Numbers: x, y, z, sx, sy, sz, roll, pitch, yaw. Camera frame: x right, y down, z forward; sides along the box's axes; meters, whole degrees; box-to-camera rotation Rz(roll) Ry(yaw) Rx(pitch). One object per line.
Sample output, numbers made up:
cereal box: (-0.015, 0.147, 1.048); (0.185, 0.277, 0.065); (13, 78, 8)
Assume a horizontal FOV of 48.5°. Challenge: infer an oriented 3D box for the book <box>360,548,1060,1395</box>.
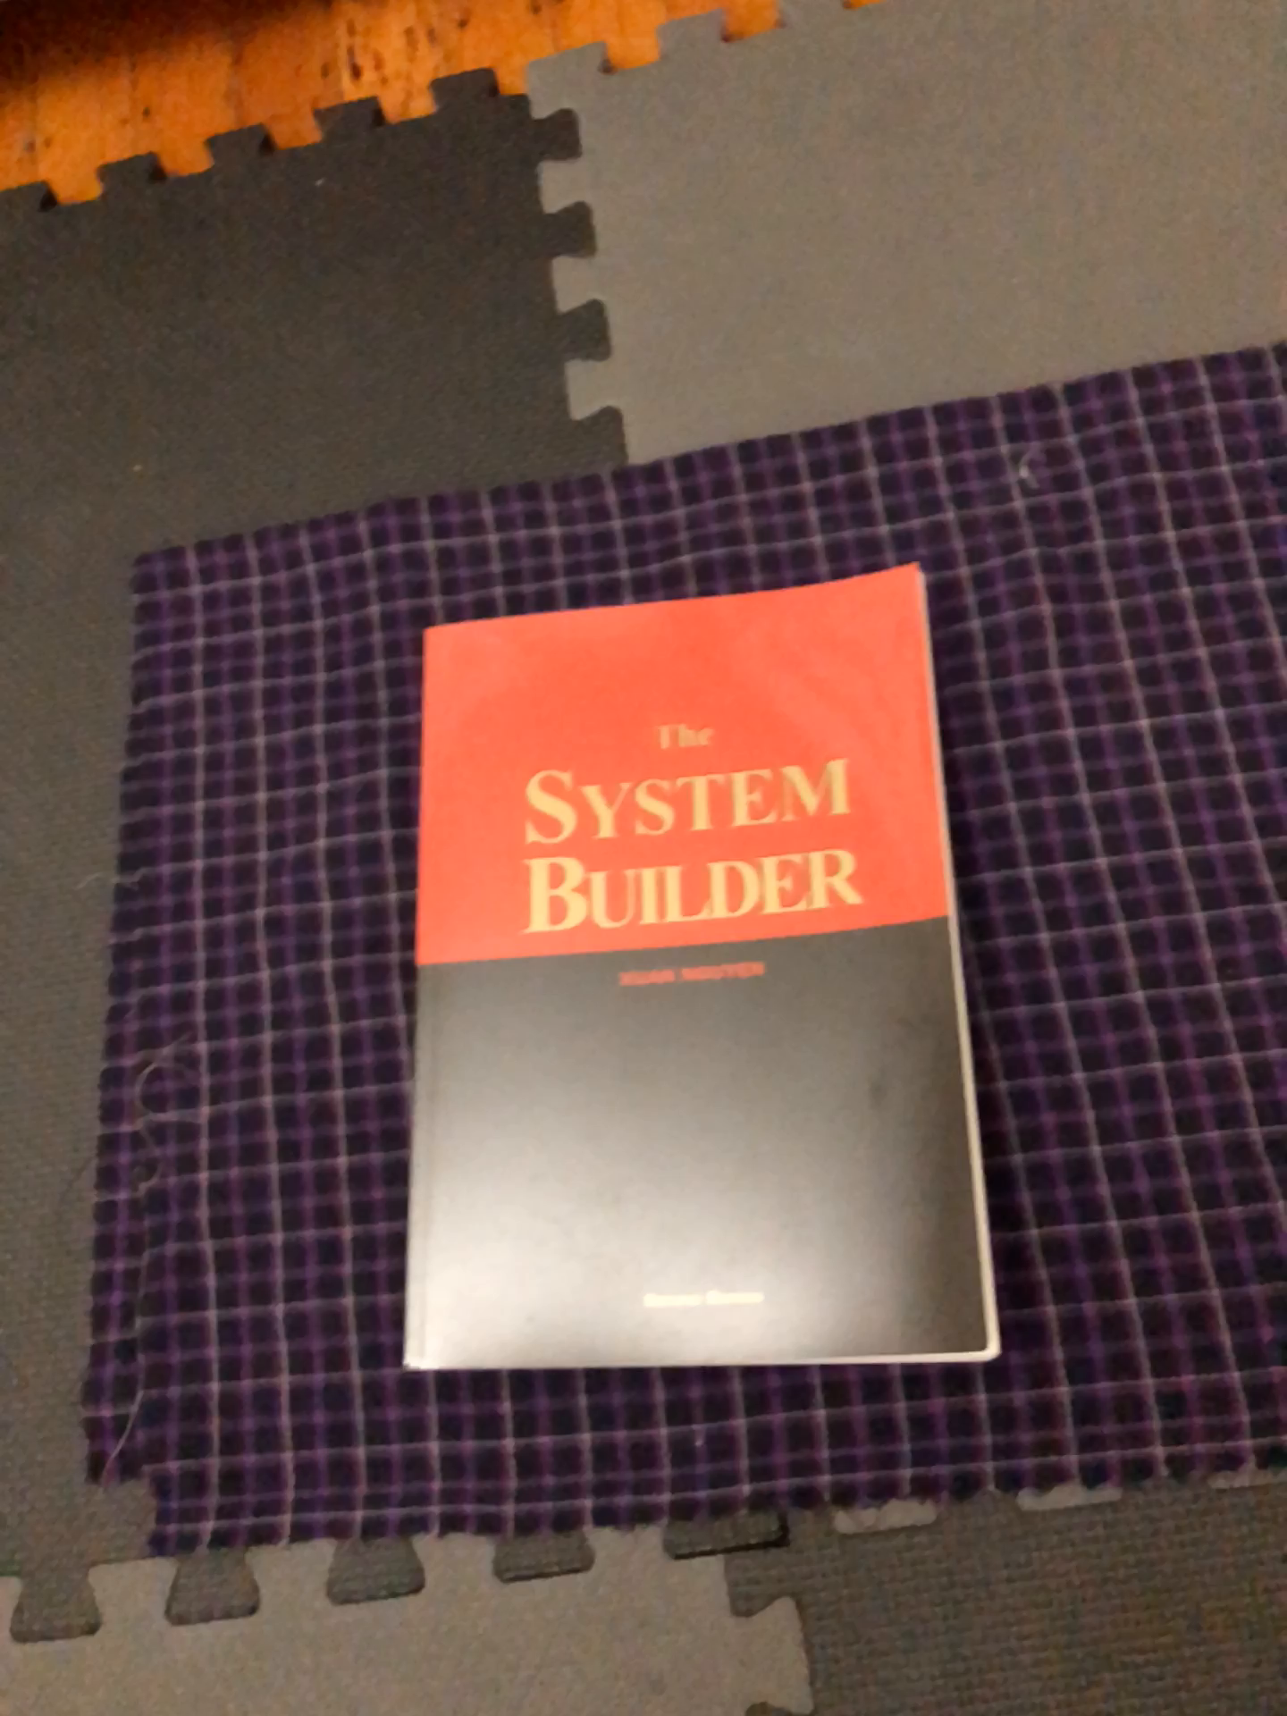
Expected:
book: (0.014, 0.032, 0.463); (0.200, 0.030, 0.261); (-5, 70, 10)
